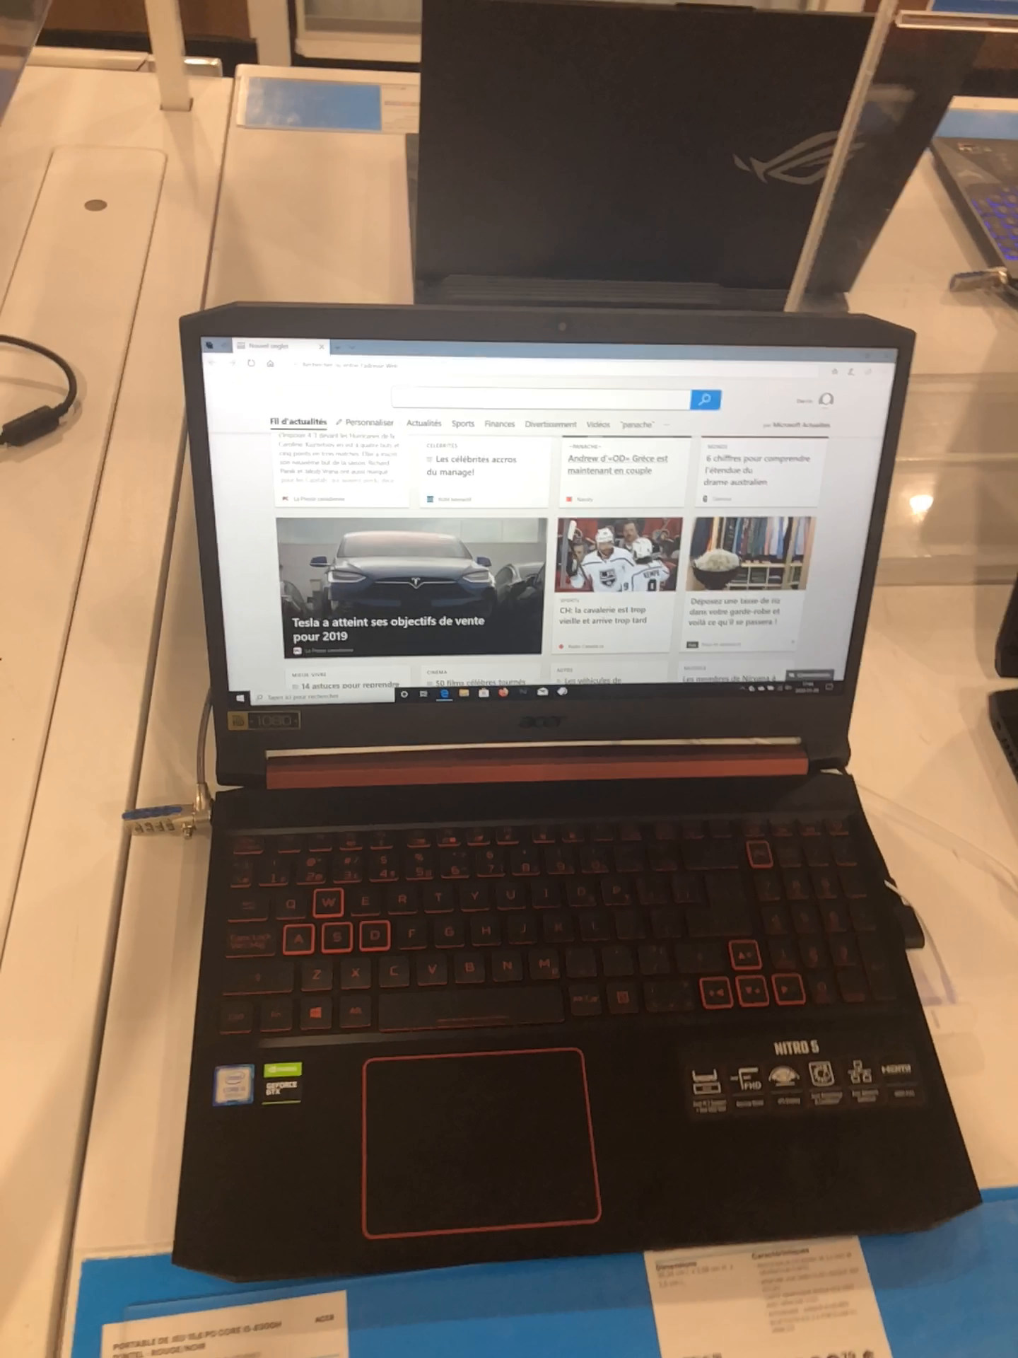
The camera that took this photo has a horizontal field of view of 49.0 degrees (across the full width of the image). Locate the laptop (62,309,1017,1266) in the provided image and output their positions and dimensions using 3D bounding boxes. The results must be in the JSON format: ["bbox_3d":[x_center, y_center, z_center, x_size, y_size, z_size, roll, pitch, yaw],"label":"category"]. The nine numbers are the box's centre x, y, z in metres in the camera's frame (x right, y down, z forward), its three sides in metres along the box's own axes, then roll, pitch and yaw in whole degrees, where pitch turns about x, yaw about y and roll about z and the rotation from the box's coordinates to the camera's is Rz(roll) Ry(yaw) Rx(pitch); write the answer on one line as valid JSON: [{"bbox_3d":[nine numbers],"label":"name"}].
[{"bbox_3d":[0.033,0.035,0.513,0.357,0.211,0.359,-1,54,-6],"label":"laptop"}]
